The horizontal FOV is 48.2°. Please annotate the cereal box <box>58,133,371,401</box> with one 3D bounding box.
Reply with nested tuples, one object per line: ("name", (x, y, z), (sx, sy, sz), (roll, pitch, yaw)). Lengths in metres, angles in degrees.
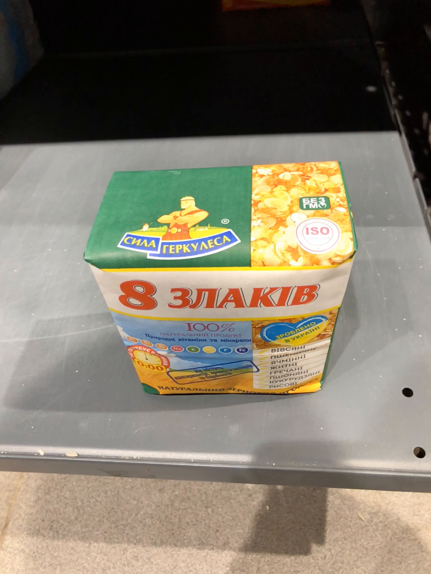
("cereal box", (0.005, -0.002, 0.255), (0.120, 0.129, 0.071), (-1, 50, 6))
